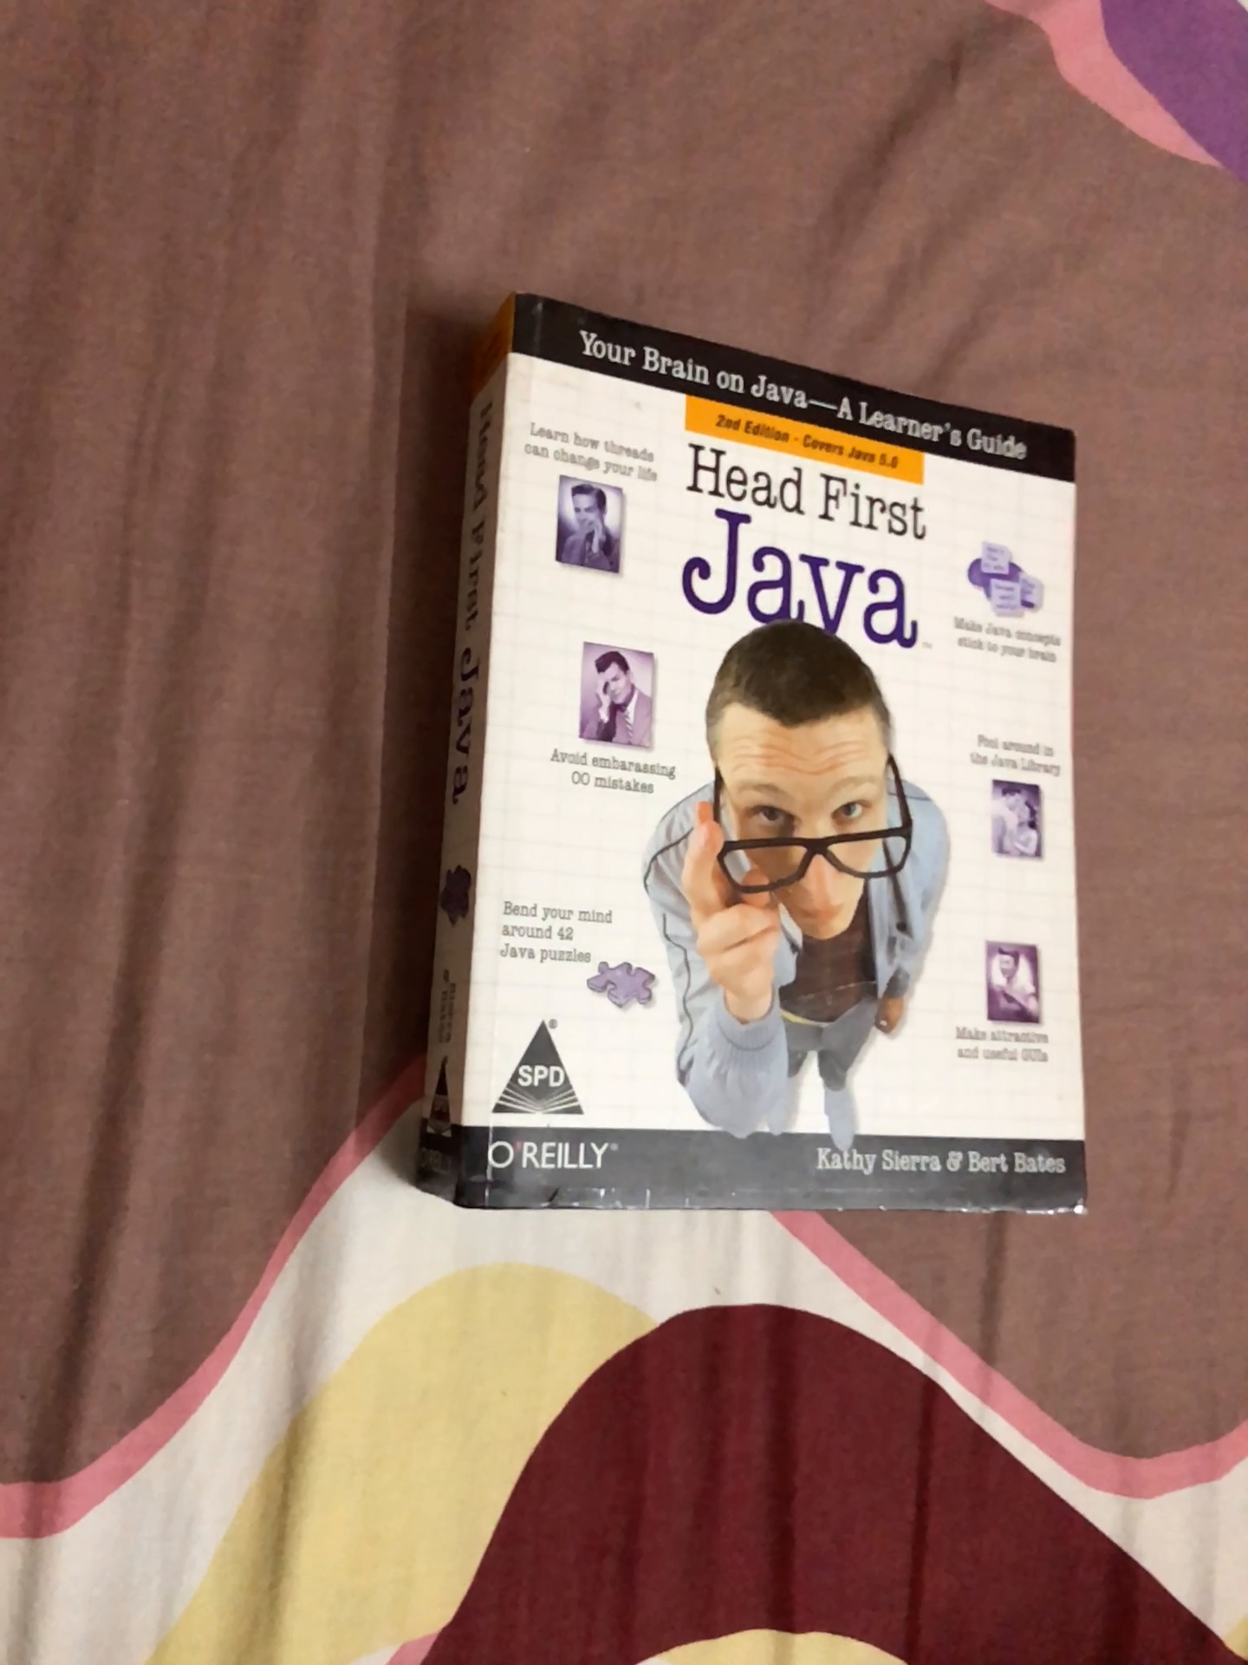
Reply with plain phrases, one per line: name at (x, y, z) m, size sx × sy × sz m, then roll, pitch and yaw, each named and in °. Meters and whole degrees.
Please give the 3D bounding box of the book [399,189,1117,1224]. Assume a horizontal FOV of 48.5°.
book at (0.045, -0.026, 0.394) m, size 0.190 × 0.050 × 0.260 m, roll 6°, pitch 80°, yaw -21°
